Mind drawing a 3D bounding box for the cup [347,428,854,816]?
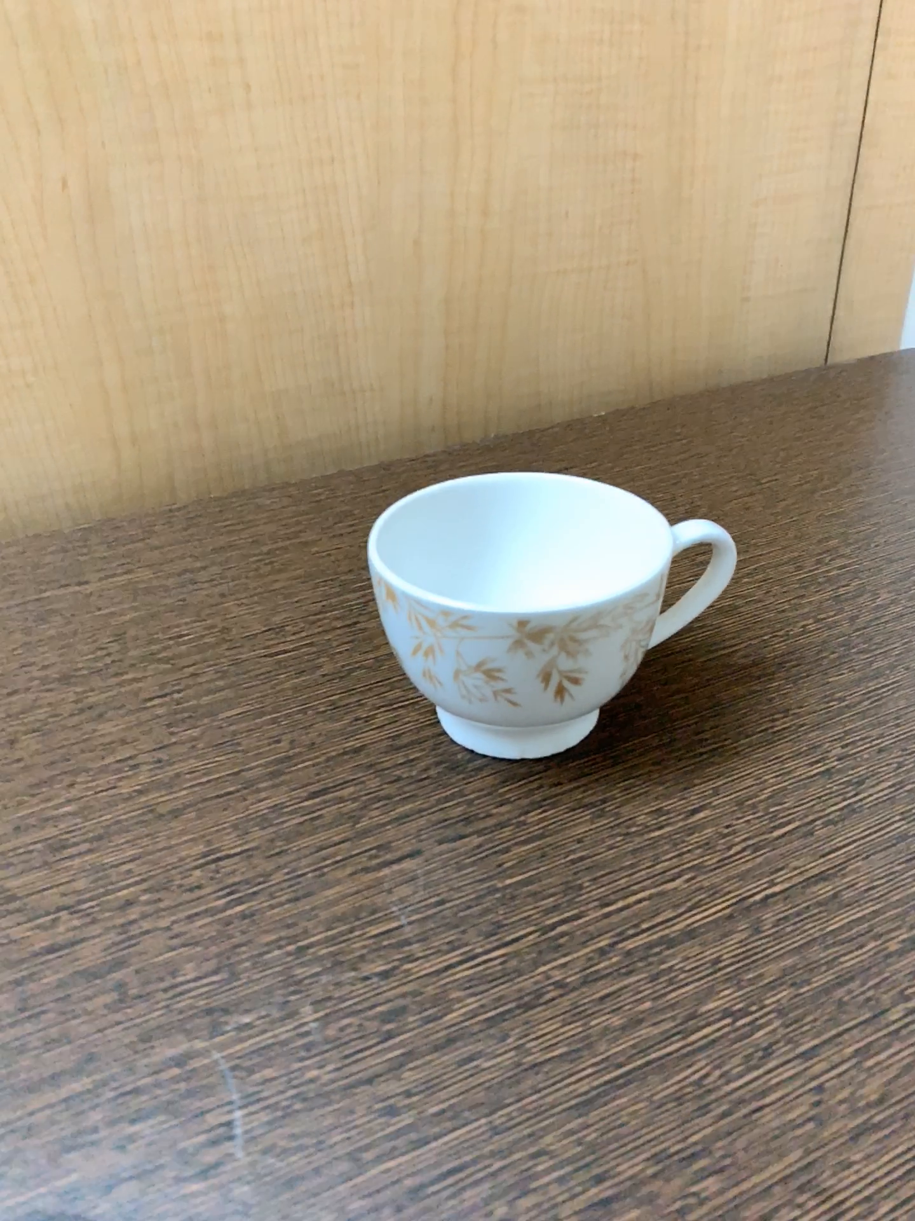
[{"bbox_3d":[0.032,-0.004,0.250,0.100,0.050,0.081,-12,32,-16],"label":"cup"}]
